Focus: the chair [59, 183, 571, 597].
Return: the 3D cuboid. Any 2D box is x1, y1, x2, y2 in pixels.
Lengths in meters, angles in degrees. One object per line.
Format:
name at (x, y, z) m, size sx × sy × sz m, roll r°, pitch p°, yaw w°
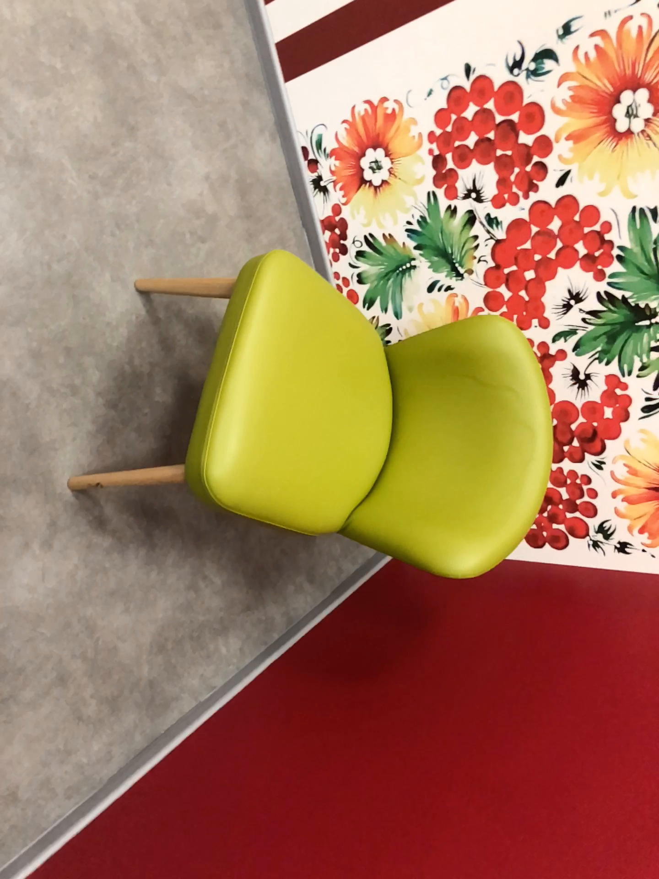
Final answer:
chair at (-0.023, -0.041, 1.490) m, size 0.572 × 0.776 × 0.521 m, roll 31°, pitch 66°, yaw -44°
